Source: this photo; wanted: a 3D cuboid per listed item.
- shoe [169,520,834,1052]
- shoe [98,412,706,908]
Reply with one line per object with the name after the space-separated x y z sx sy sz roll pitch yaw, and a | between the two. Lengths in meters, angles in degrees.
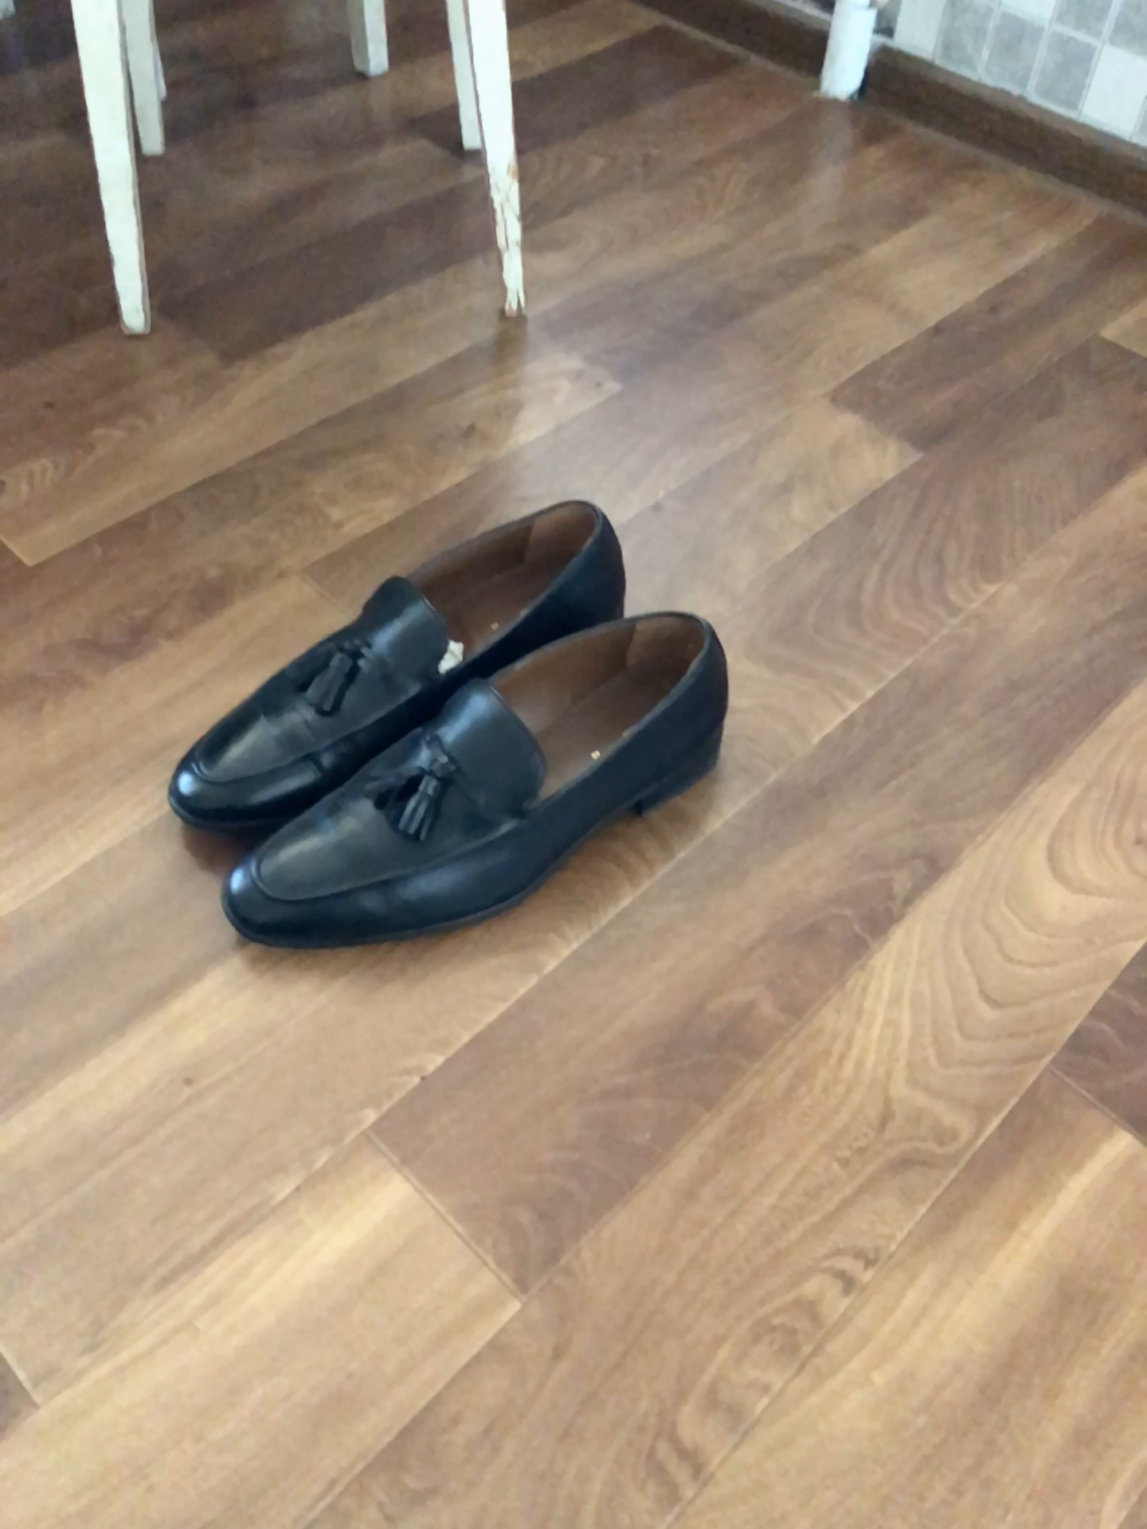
-0.029 0.003 0.641 0.301 0.119 0.110 -26 56 -22 | shoe
-0.083 -0.066 0.696 0.301 0.119 0.110 -30 58 -24 | shoe
